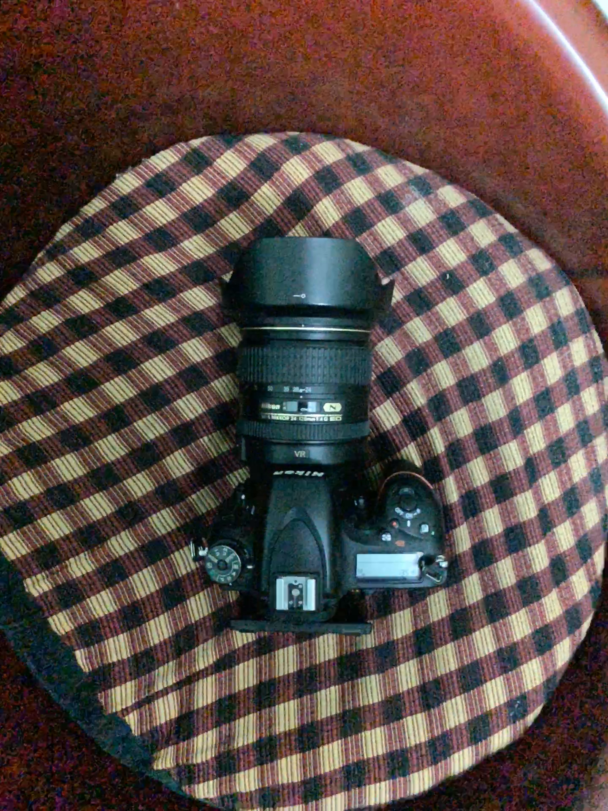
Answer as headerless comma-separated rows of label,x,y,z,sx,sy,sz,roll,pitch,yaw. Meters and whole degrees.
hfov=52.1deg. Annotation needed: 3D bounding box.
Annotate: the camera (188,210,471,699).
camera,0.015,0.024,0.374,0.140,0.102,0.250,2,90,4
